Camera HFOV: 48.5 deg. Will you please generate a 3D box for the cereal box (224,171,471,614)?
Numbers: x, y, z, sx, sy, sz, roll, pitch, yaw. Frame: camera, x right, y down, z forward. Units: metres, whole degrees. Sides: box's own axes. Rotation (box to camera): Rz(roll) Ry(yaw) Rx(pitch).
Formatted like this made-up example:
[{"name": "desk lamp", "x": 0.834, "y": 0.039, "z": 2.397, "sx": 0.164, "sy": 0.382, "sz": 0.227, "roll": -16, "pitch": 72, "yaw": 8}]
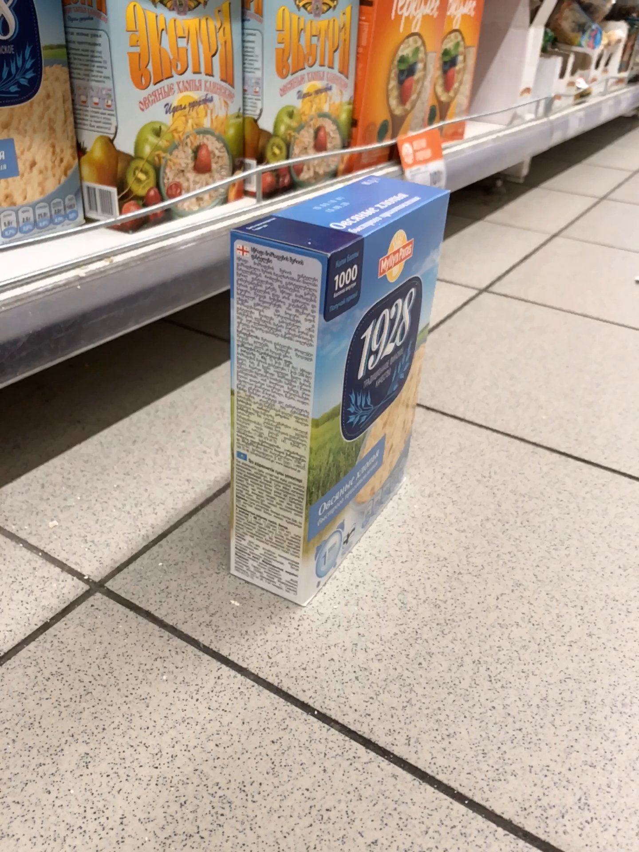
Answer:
[{"name": "cereal box", "x": 0.015, "y": -0.024, "z": 0.402, "sx": 0.060, "sy": 0.199, "sz": 0.151, "roll": 19, "pitch": 35, "yaw": 23}]
